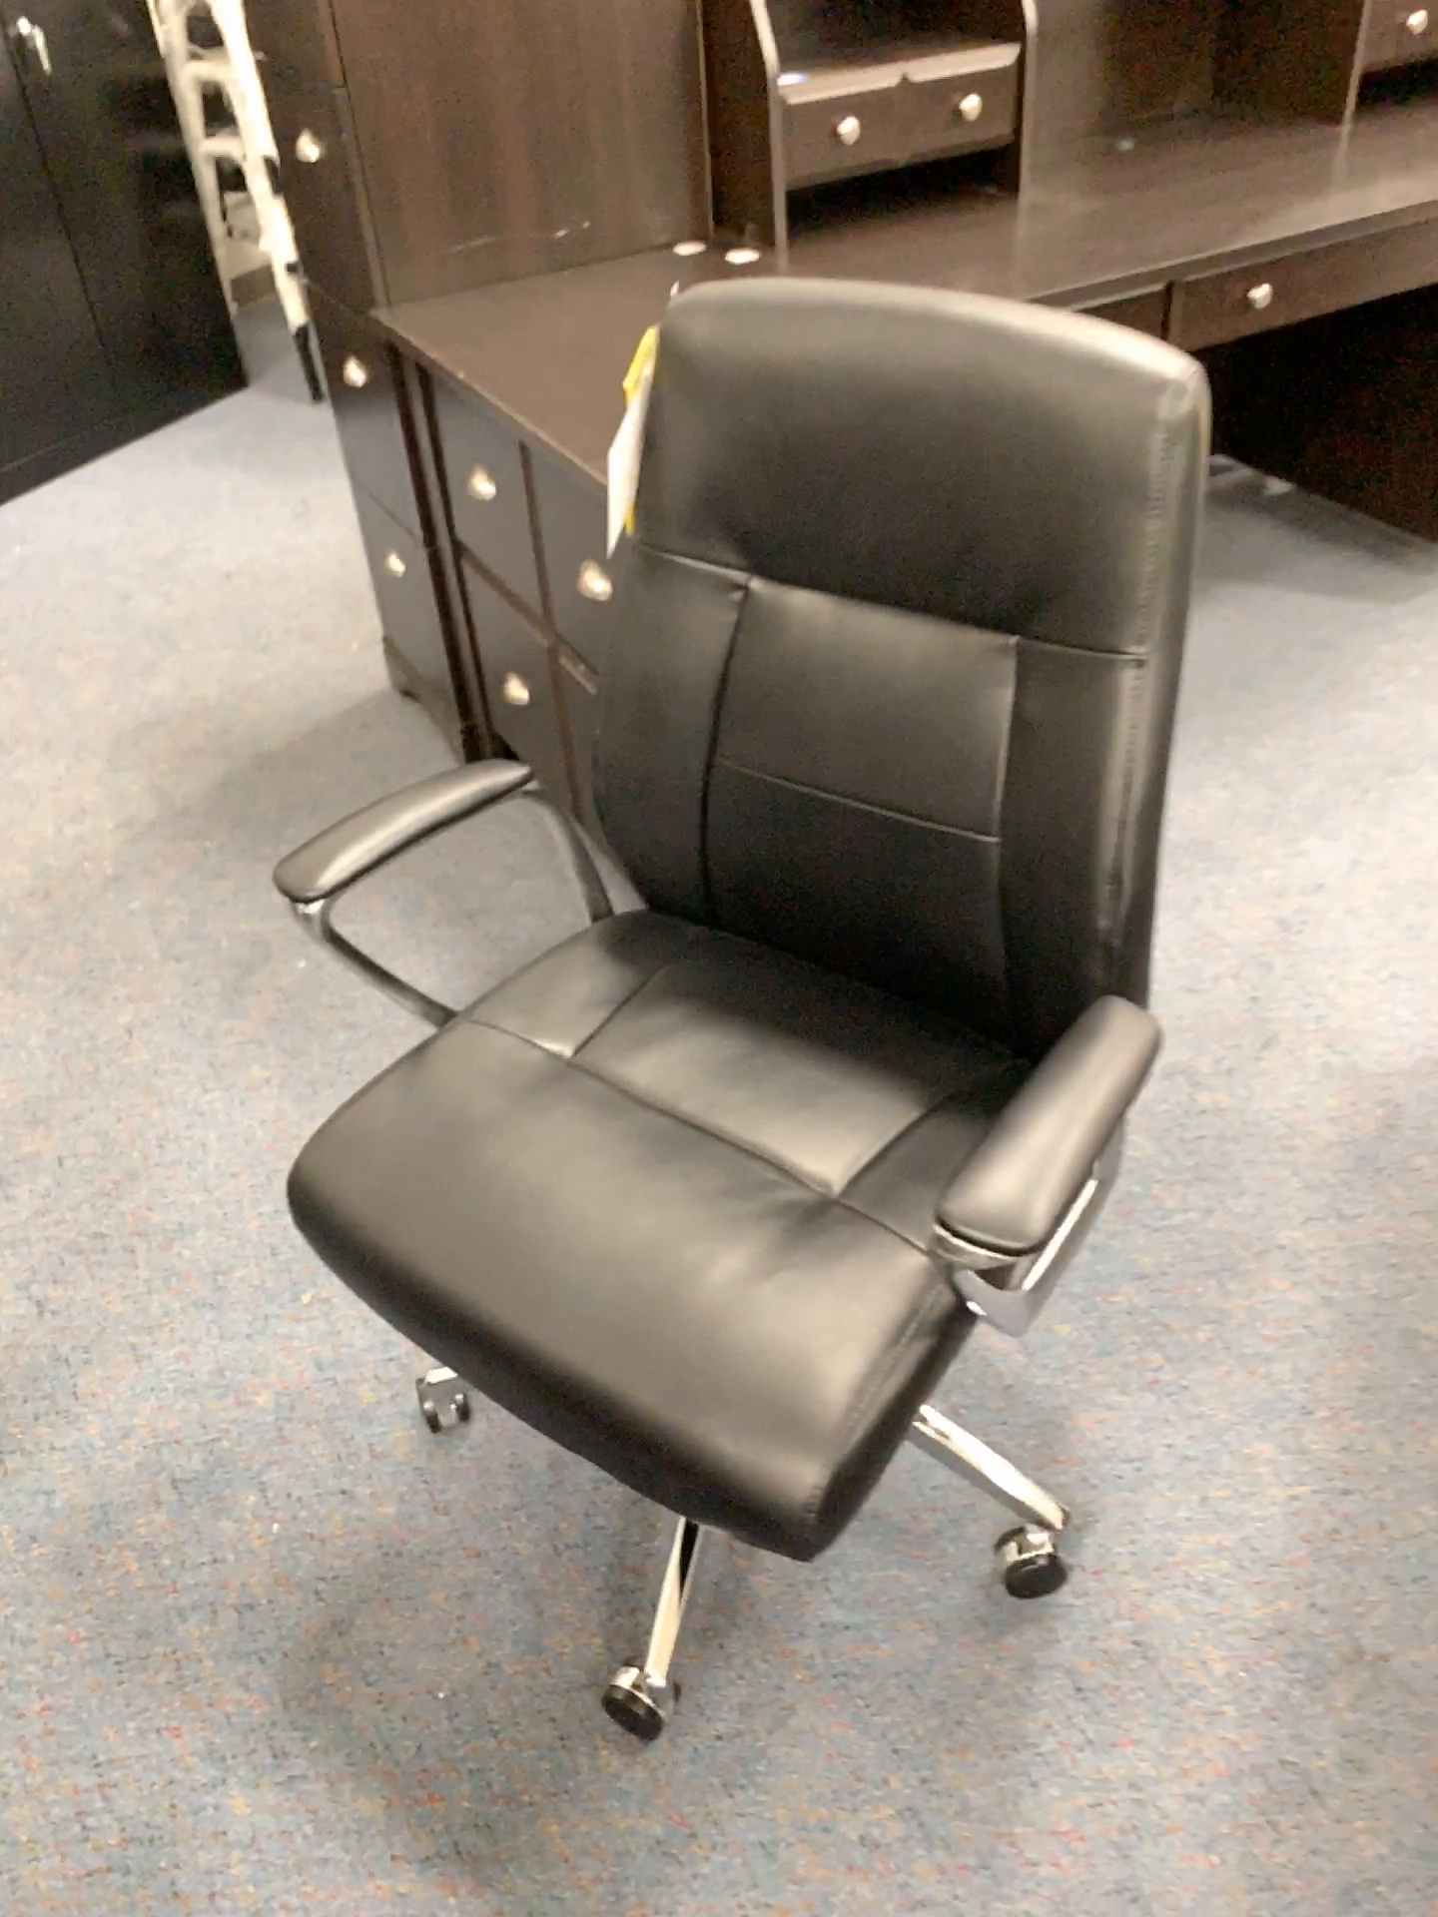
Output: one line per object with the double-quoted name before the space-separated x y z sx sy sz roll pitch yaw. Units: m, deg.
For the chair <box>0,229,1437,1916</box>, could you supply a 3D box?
"chair" 0.014 0.068 1.190 0.665 0.996 0.719 22 46 29
